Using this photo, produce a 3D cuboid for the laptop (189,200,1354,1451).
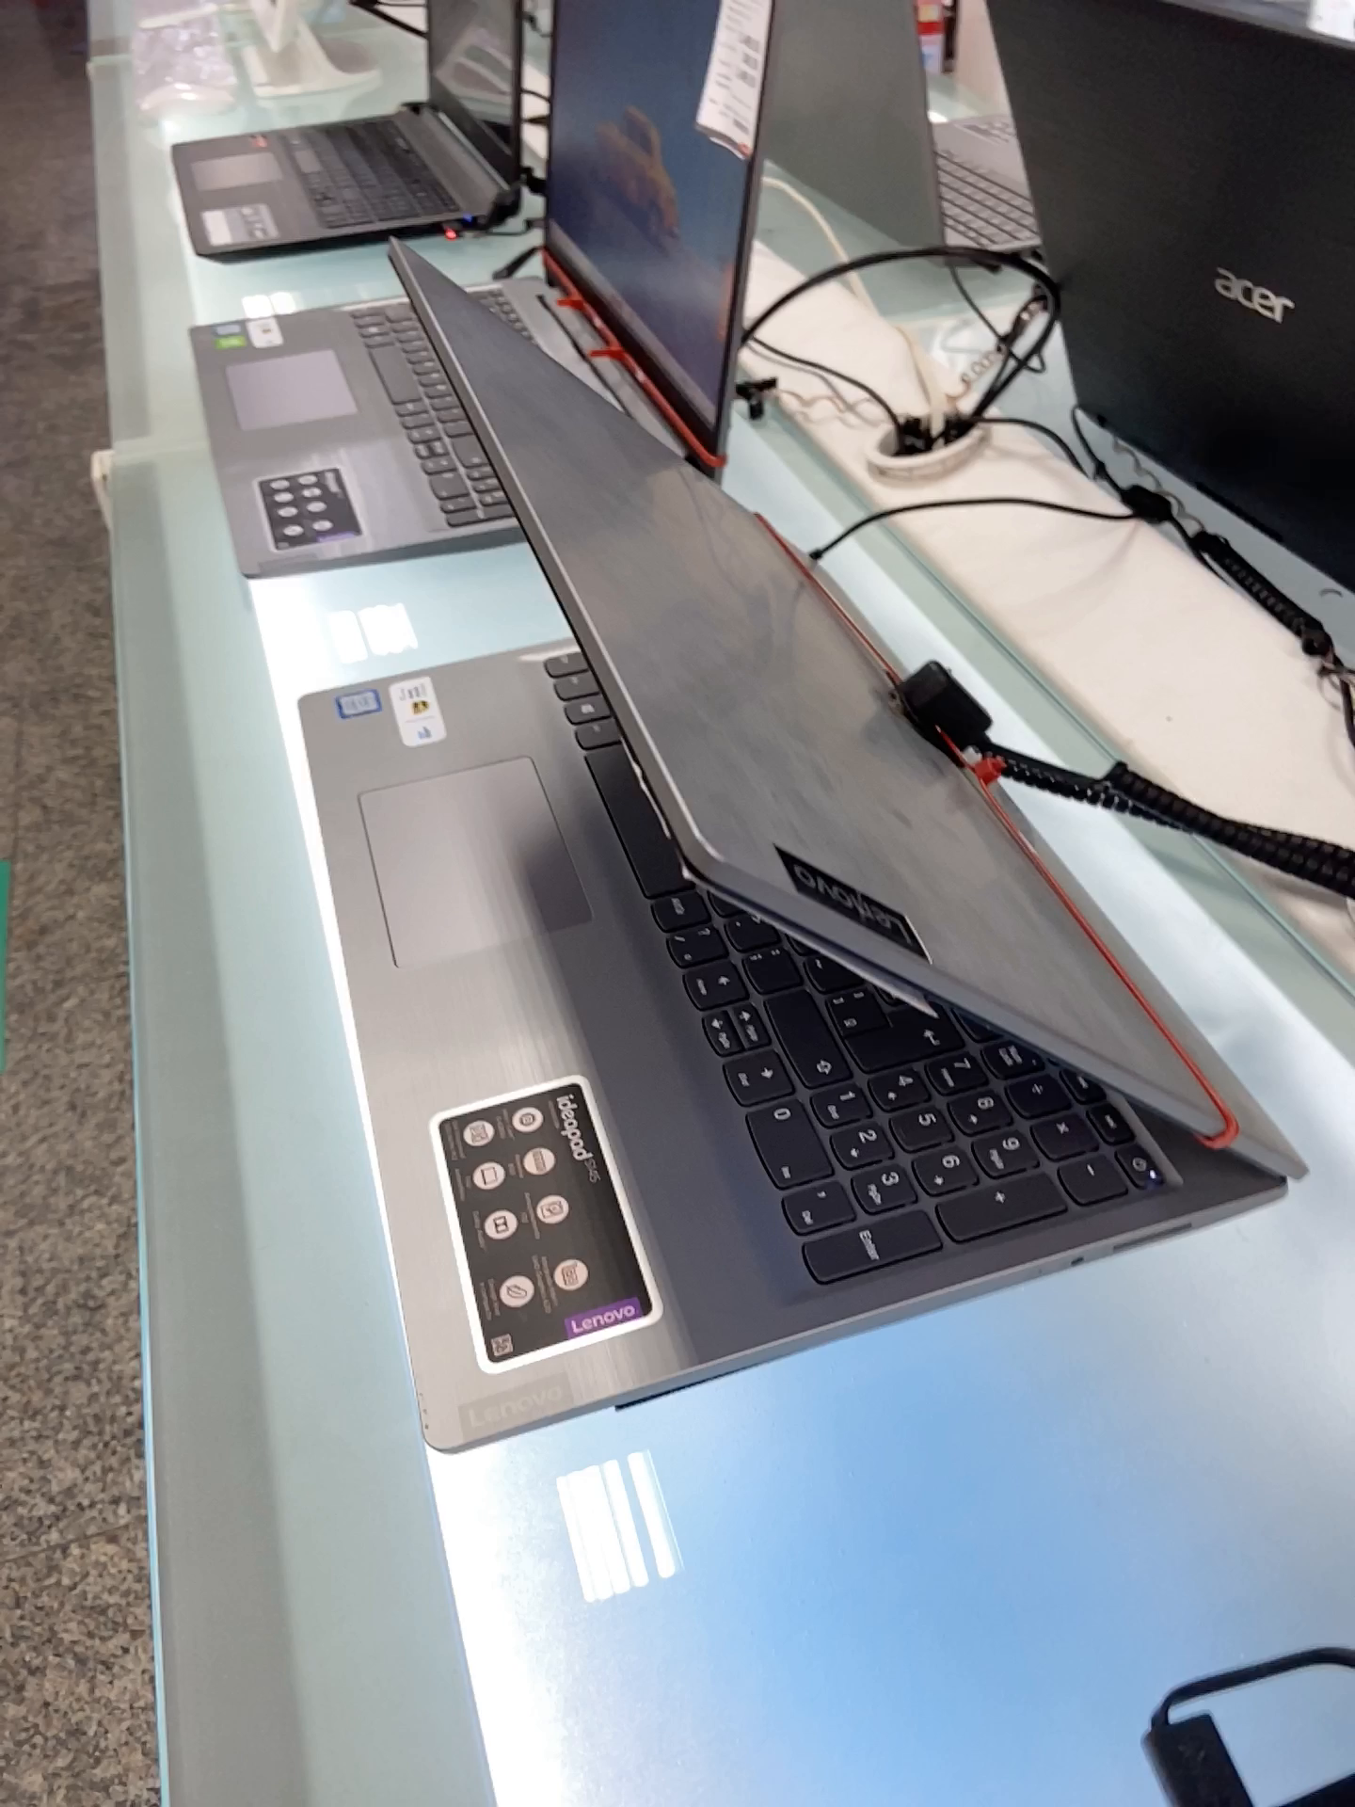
[{"bbox_3d":[-0.002,-0.069,0.451,0.246,0.167,0.363,-14,43,-11],"label":"laptop"}]
